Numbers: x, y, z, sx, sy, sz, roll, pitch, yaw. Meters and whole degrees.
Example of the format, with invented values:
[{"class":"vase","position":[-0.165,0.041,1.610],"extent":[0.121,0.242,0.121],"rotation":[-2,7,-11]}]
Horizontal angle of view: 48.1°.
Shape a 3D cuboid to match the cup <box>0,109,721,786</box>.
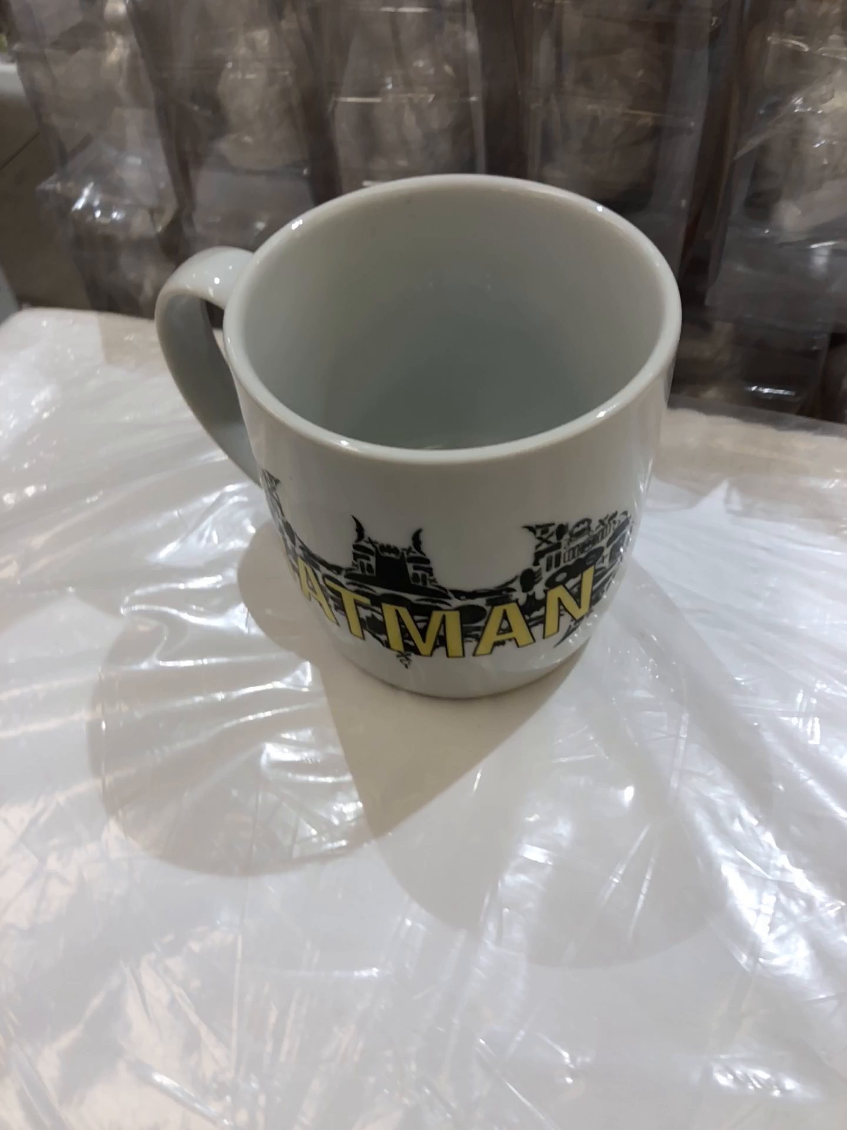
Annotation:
[{"class":"cup","position":[-0.010,-0.028,0.212],"extent":[0.110,0.089,0.080],"rotation":[23,57,20]}]
